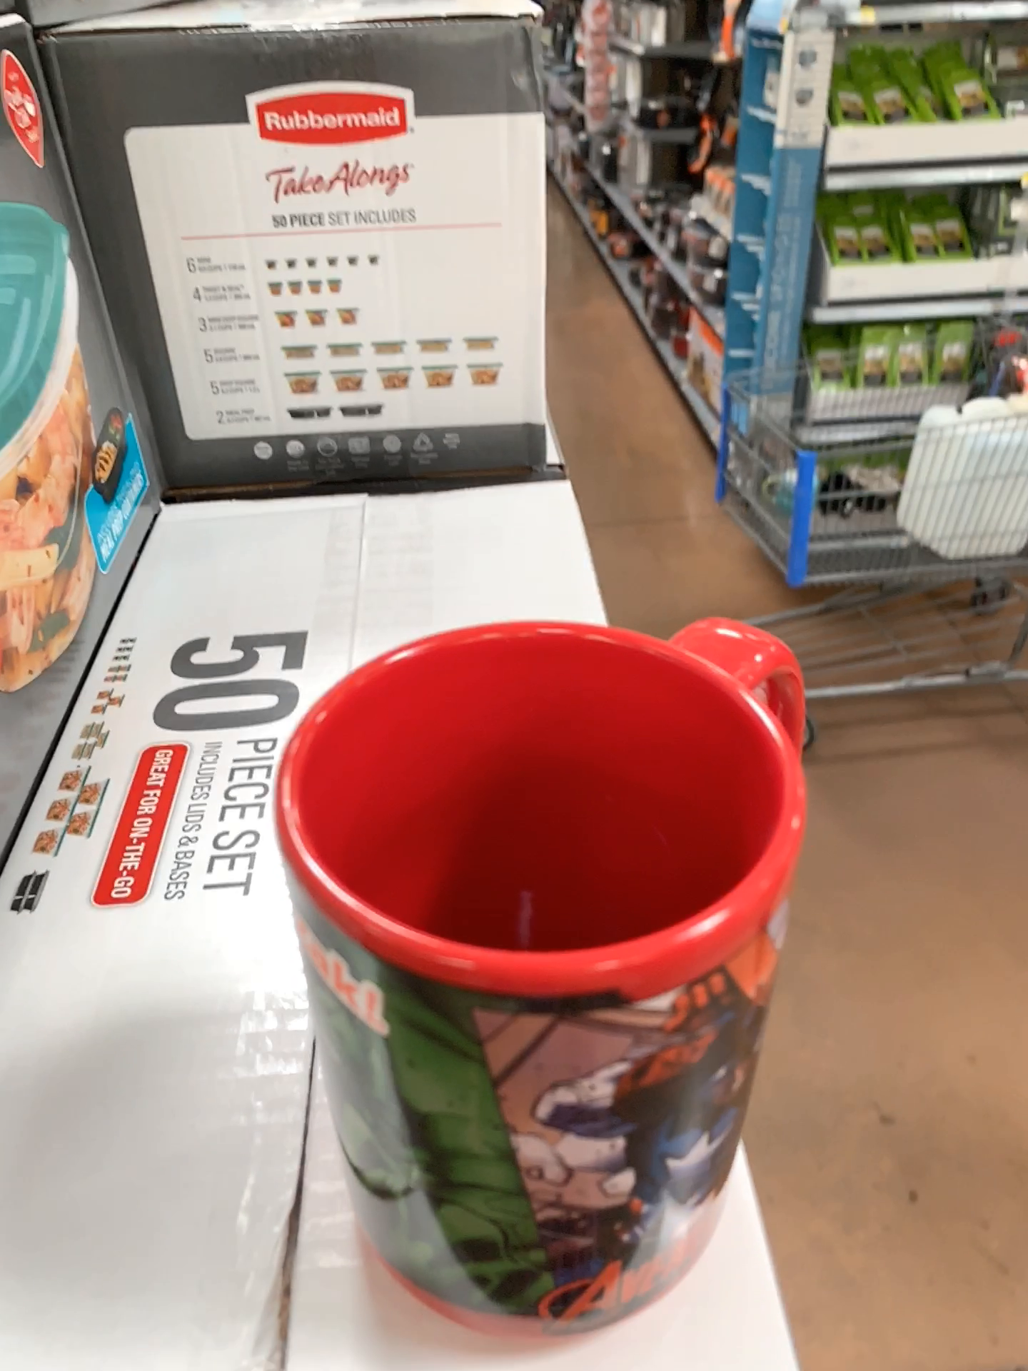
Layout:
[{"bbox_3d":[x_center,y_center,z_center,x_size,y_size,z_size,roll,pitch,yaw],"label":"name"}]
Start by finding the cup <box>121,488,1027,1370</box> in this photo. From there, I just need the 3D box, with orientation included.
[{"bbox_3d":[0.011,0.048,0.216,0.120,0.114,0.100,-30,48,-34],"label":"cup"}]
